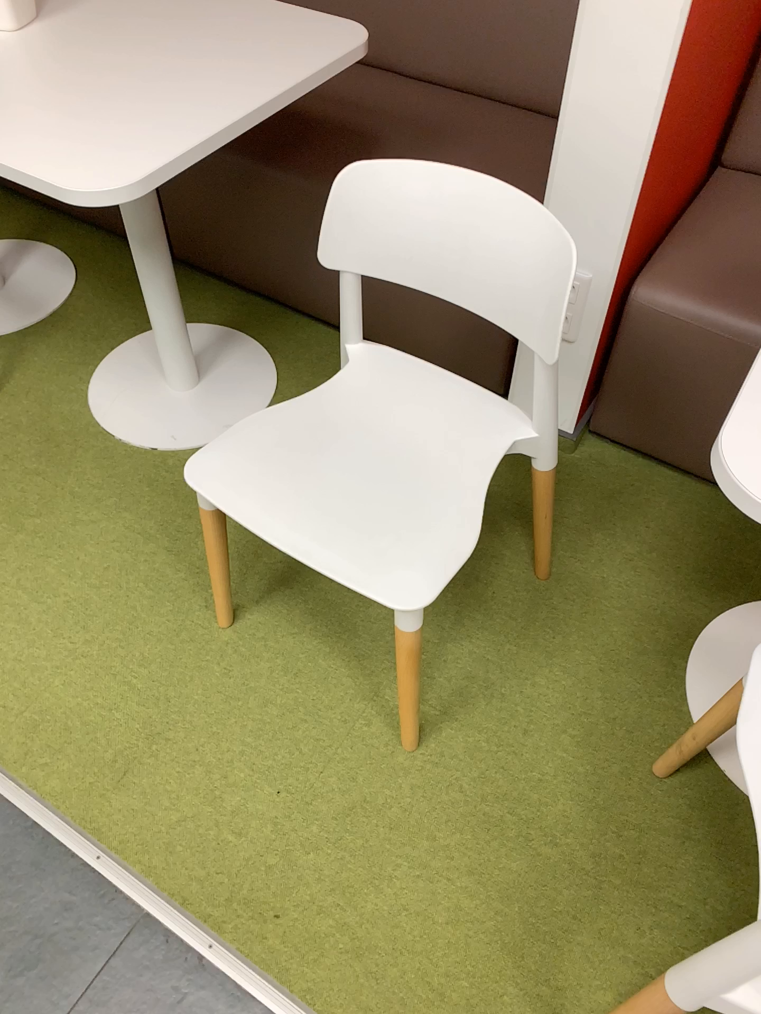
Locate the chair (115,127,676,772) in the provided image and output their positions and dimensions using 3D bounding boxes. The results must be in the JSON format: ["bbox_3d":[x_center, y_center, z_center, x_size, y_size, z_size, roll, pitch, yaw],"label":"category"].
[{"bbox_3d":[0.029,-0.060,1.268,0.501,0.787,0.502,29,56,21],"label":"chair"}]
